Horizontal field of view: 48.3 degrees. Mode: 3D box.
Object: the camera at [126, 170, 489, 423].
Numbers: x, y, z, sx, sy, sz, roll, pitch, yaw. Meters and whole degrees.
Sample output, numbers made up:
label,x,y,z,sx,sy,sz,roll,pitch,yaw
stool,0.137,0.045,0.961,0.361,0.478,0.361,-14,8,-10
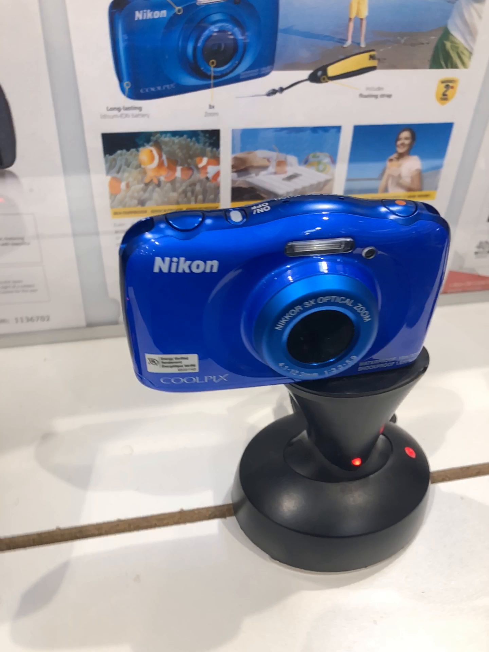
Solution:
label,x,y,z,sx,sy,sz,roll,pitch,yaw
camera,0.017,-0.011,0.176,0.100,0.060,0.040,-6,39,-12
